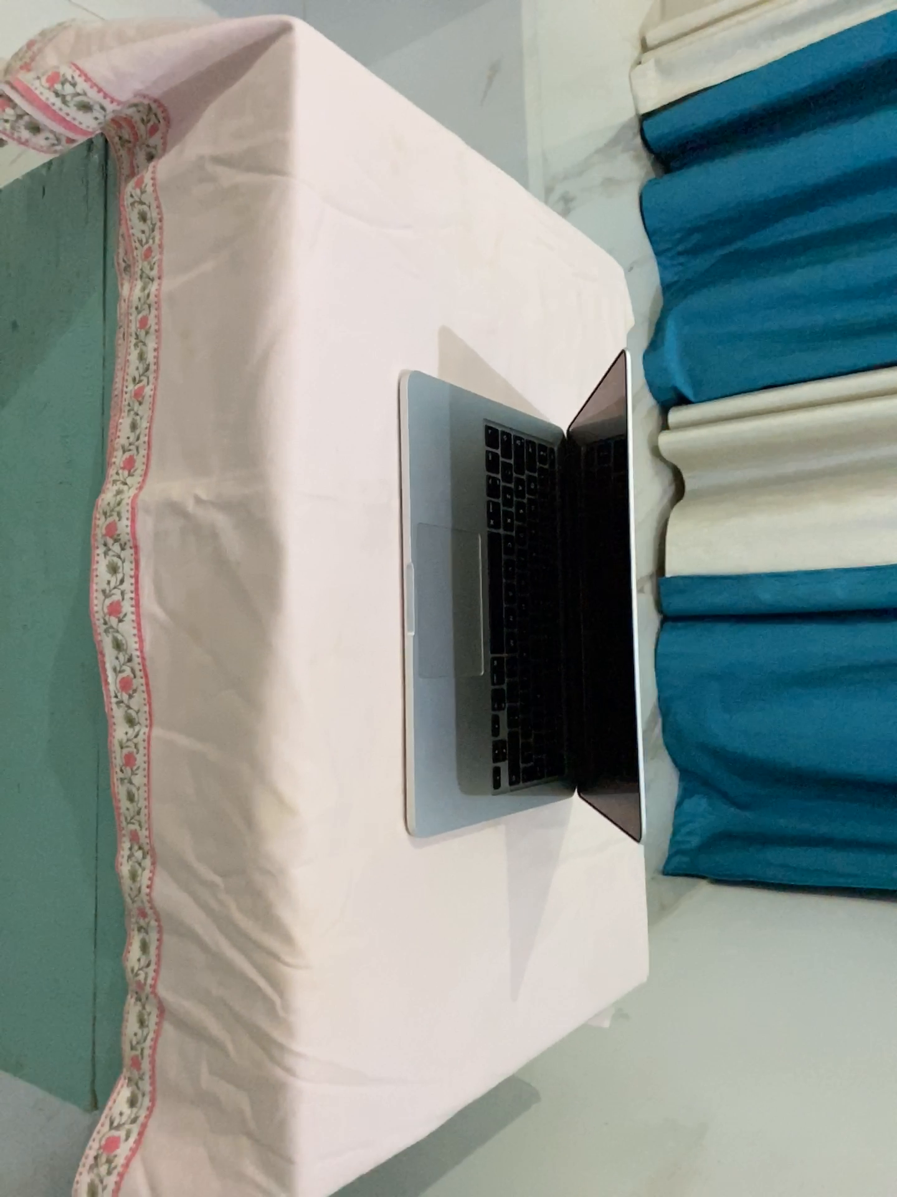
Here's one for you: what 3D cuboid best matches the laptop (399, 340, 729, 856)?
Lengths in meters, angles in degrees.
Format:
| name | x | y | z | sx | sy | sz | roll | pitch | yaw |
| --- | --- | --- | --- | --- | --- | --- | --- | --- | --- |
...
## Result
| name | x | y | z | sx | sy | sz | roll | pitch | yaw |
| --- | --- | --- | --- | --- | --- | --- | --- | --- | --- |
| laptop | 0.088 | 0.005 | 0.647 | 0.210 | 0.138 | 0.296 | 3 | 85 | -53 |
